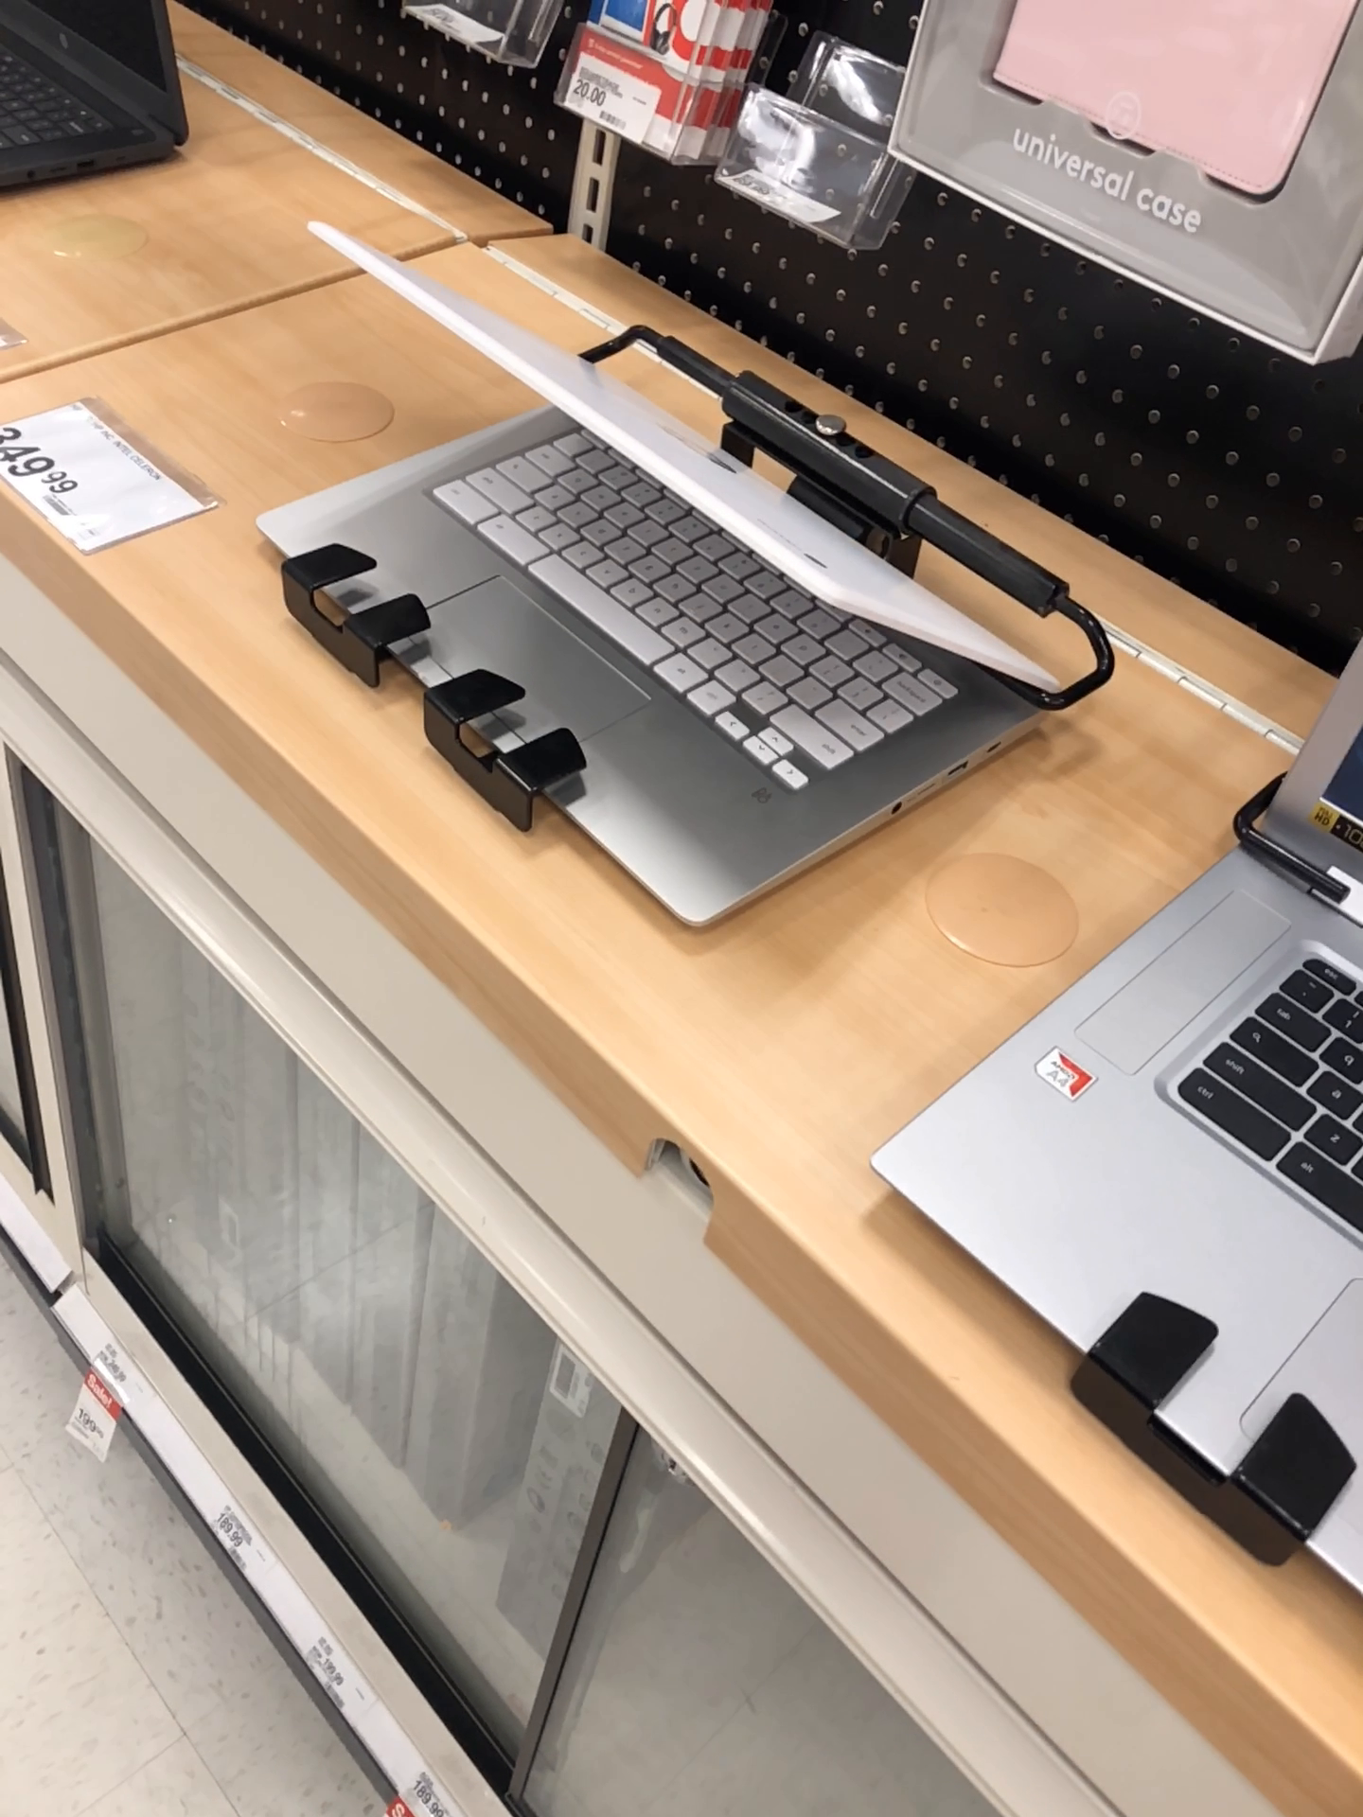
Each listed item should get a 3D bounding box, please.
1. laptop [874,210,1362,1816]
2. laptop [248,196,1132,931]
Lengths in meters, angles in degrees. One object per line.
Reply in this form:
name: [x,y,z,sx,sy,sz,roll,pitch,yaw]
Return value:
laptop: [0.314,0.044,0.400,0.273,0.244,0.389,-32,58,-34]
laptop: [-0.014,-0.178,0.669,0.215,0.100,0.331,-31,58,-28]
